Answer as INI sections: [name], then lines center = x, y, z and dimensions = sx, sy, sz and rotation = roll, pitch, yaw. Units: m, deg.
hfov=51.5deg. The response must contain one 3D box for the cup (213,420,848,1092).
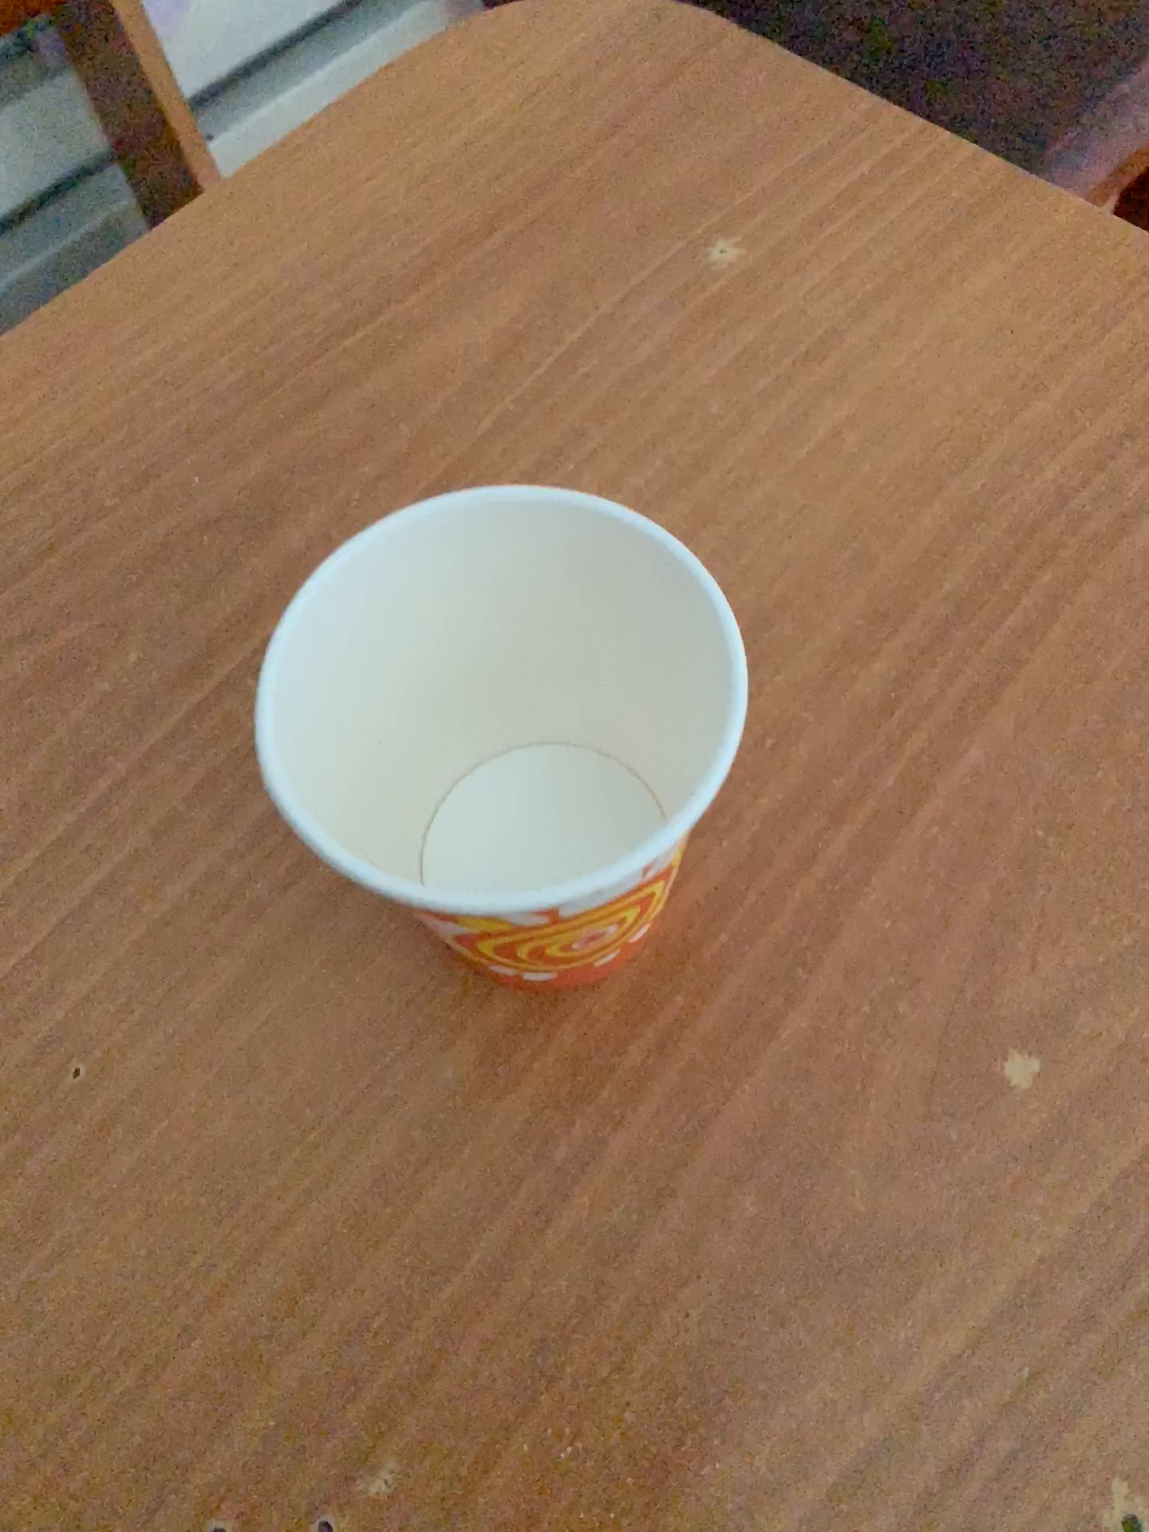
[cup]
center = -0.008, 0.003, 0.227
dimensions = 0.081, 0.083, 0.079
rotation = -2, 64, 3
